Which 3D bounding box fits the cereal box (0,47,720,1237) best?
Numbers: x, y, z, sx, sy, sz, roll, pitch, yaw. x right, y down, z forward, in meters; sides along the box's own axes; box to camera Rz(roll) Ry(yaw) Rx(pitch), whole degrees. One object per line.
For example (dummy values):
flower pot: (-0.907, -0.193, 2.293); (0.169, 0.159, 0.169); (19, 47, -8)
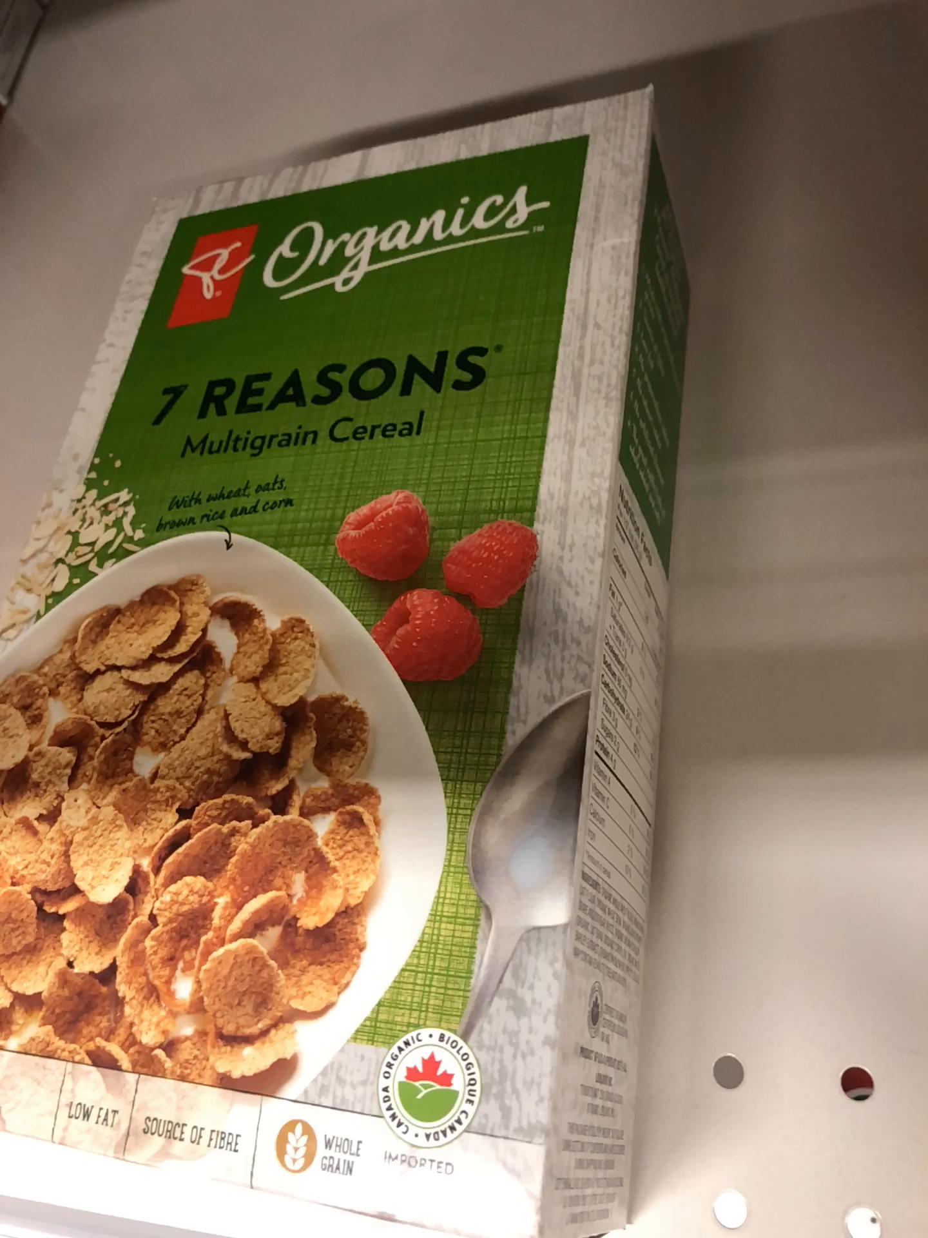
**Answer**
cereal box: (-0.042, -0.007, 0.254); (0.180, 0.060, 0.260); (-1, 63, 23)
